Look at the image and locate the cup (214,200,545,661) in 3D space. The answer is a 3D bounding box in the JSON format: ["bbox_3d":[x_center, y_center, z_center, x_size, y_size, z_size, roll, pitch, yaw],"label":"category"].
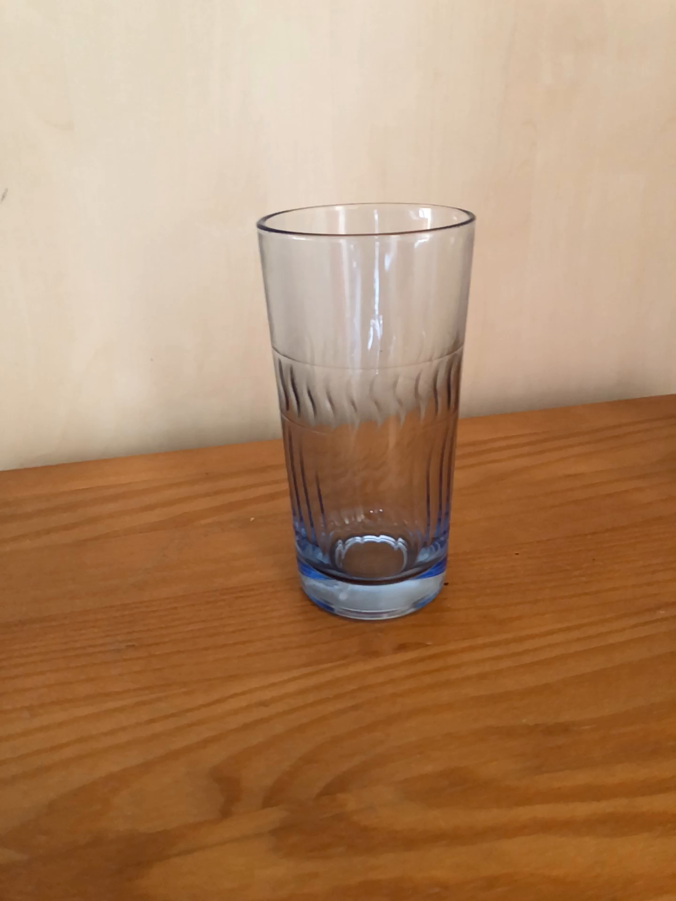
[{"bbox_3d":[0.012,-0.013,0.260,0.070,0.129,0.076,0,24,0],"label":"cup"}]
